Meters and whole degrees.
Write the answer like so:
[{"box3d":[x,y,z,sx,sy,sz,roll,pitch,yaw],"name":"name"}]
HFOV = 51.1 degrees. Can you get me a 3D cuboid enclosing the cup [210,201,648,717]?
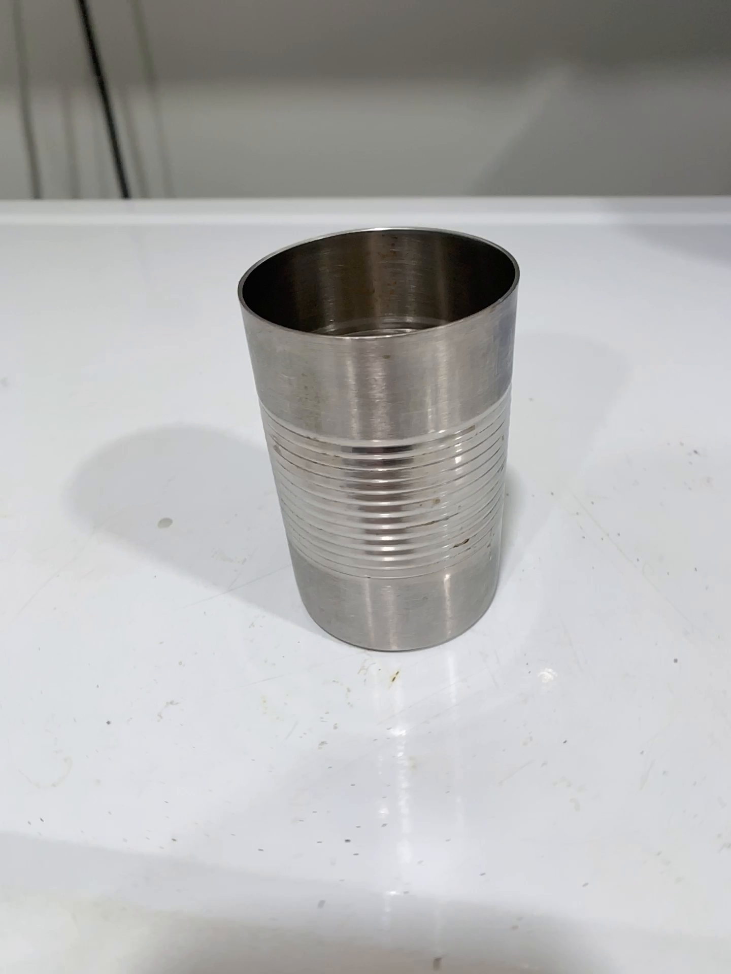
[{"box3d":[0.018,-0.011,0.199,0.070,0.095,0.070,-3,36,2],"name":"cup"}]
